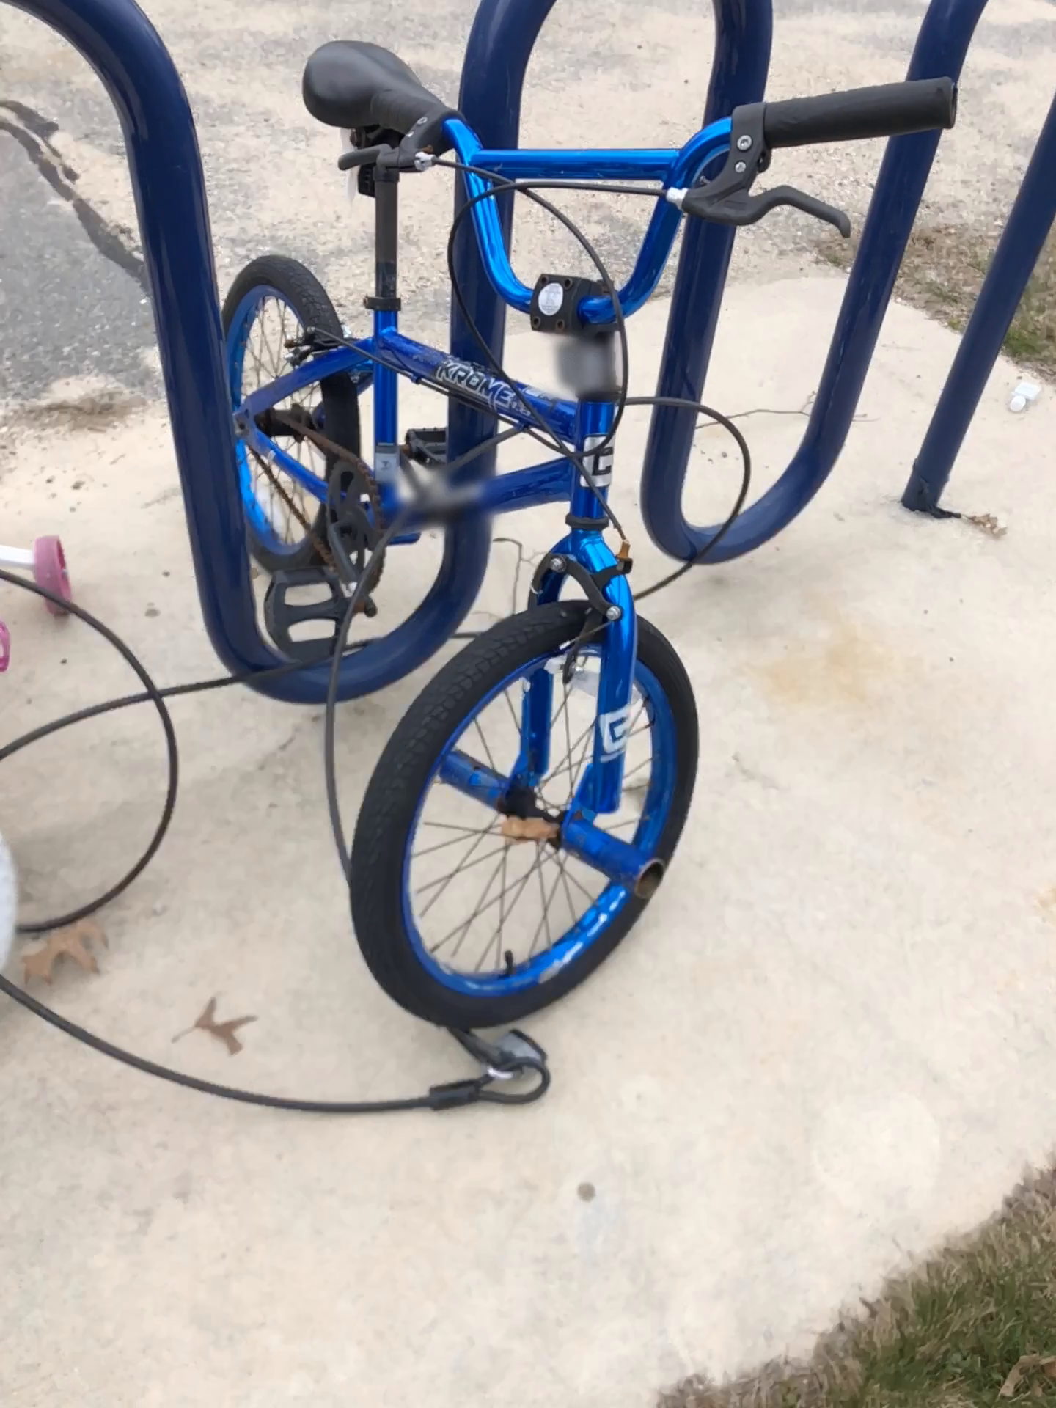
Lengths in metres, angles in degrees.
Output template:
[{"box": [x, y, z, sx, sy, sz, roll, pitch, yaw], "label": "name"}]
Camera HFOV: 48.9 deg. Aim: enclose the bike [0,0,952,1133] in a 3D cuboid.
[{"box": [-0.164, -0.332, 1.300, 0.622, 0.840, 1.034, -11, 43, -16], "label": "bike"}]
